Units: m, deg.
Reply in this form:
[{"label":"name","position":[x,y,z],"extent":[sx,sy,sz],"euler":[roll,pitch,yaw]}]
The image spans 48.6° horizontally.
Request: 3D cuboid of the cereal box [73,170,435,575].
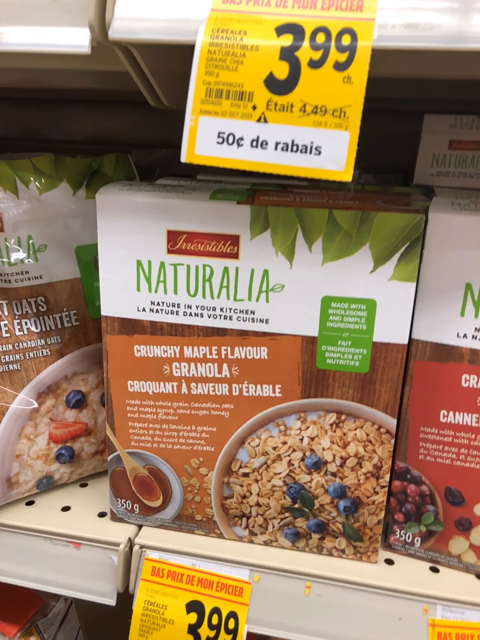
[{"label":"cereal box","position":[0.002,0.029,0.303],"extent":[0.170,0.209,0.050],"euler":[6,19,9]}]
